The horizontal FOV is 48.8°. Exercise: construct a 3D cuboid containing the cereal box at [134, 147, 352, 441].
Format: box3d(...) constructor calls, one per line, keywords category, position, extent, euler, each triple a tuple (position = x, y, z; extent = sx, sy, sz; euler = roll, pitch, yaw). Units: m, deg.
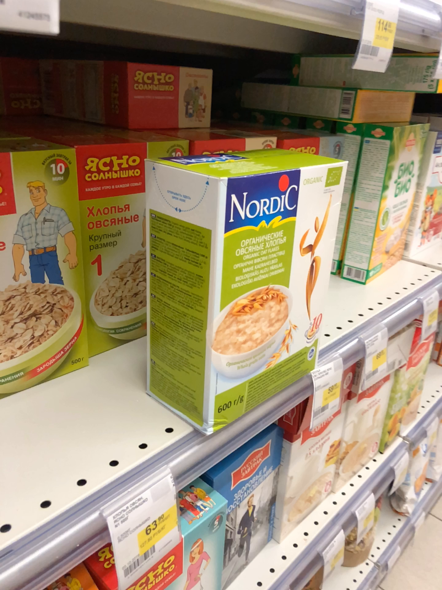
box3d(category="cereal box", position=(0.017, -0.013, 0.393), extent=(0.080, 0.189, 0.150), euler=(23, 30, 39))
